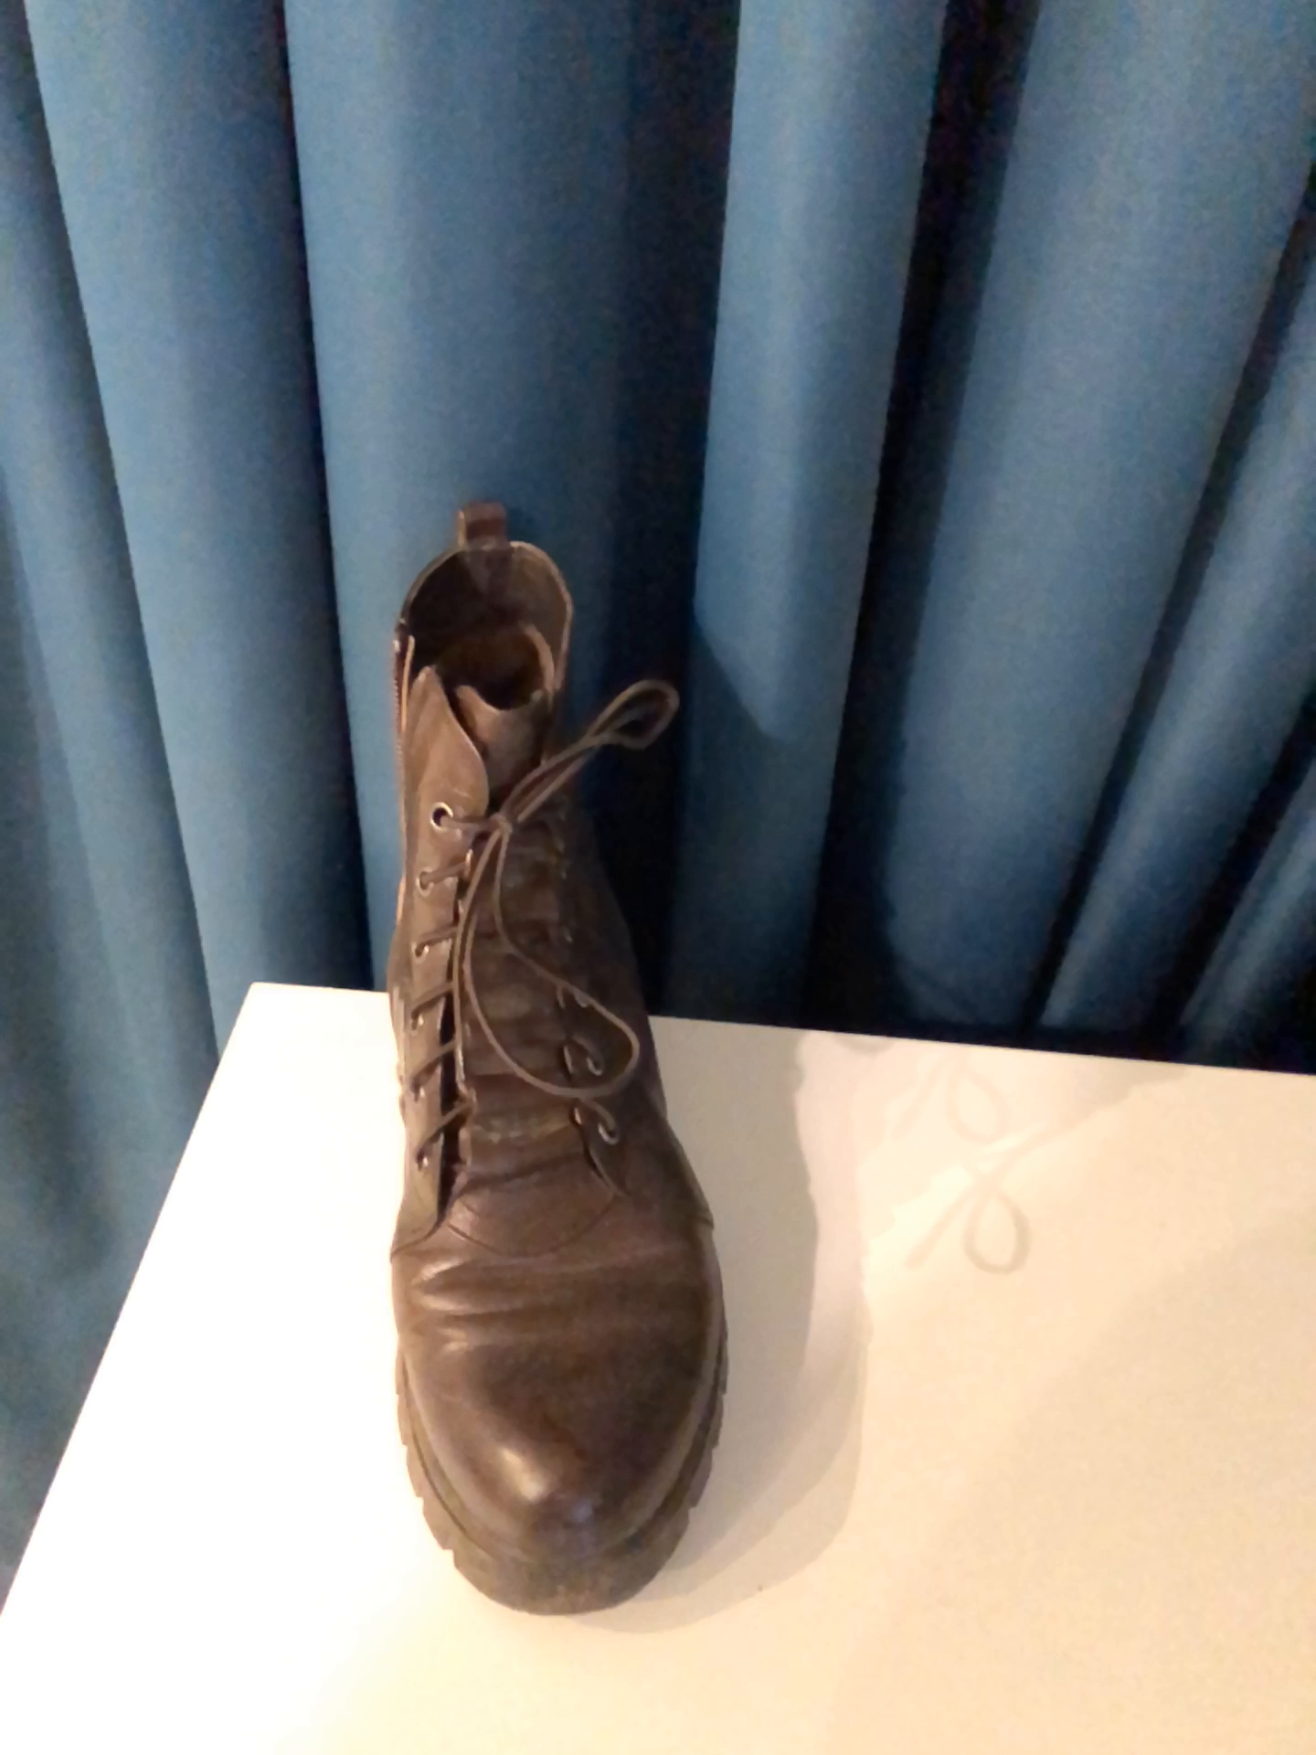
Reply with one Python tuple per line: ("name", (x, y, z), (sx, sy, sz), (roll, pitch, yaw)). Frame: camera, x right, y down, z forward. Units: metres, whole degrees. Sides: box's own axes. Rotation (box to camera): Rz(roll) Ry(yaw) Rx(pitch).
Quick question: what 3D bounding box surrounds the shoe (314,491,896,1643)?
("shoe", (-0.029, 0.030, 0.405), (0.100, 0.169, 0.272), (-2, 39, -7))
